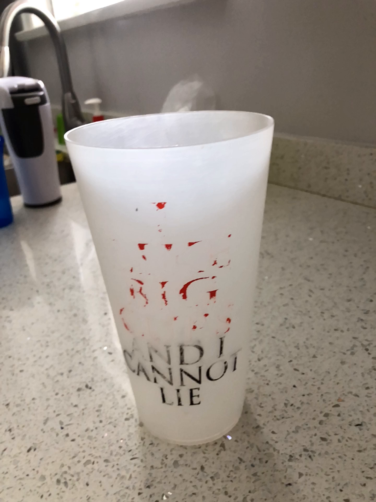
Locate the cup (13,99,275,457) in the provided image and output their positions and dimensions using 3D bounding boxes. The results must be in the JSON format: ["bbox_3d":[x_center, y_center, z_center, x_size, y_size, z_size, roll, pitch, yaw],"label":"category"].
[{"bbox_3d":[-0.009,0.013,0.229,0.096,0.166,0.094,-4,24,2],"label":"cup"}]
